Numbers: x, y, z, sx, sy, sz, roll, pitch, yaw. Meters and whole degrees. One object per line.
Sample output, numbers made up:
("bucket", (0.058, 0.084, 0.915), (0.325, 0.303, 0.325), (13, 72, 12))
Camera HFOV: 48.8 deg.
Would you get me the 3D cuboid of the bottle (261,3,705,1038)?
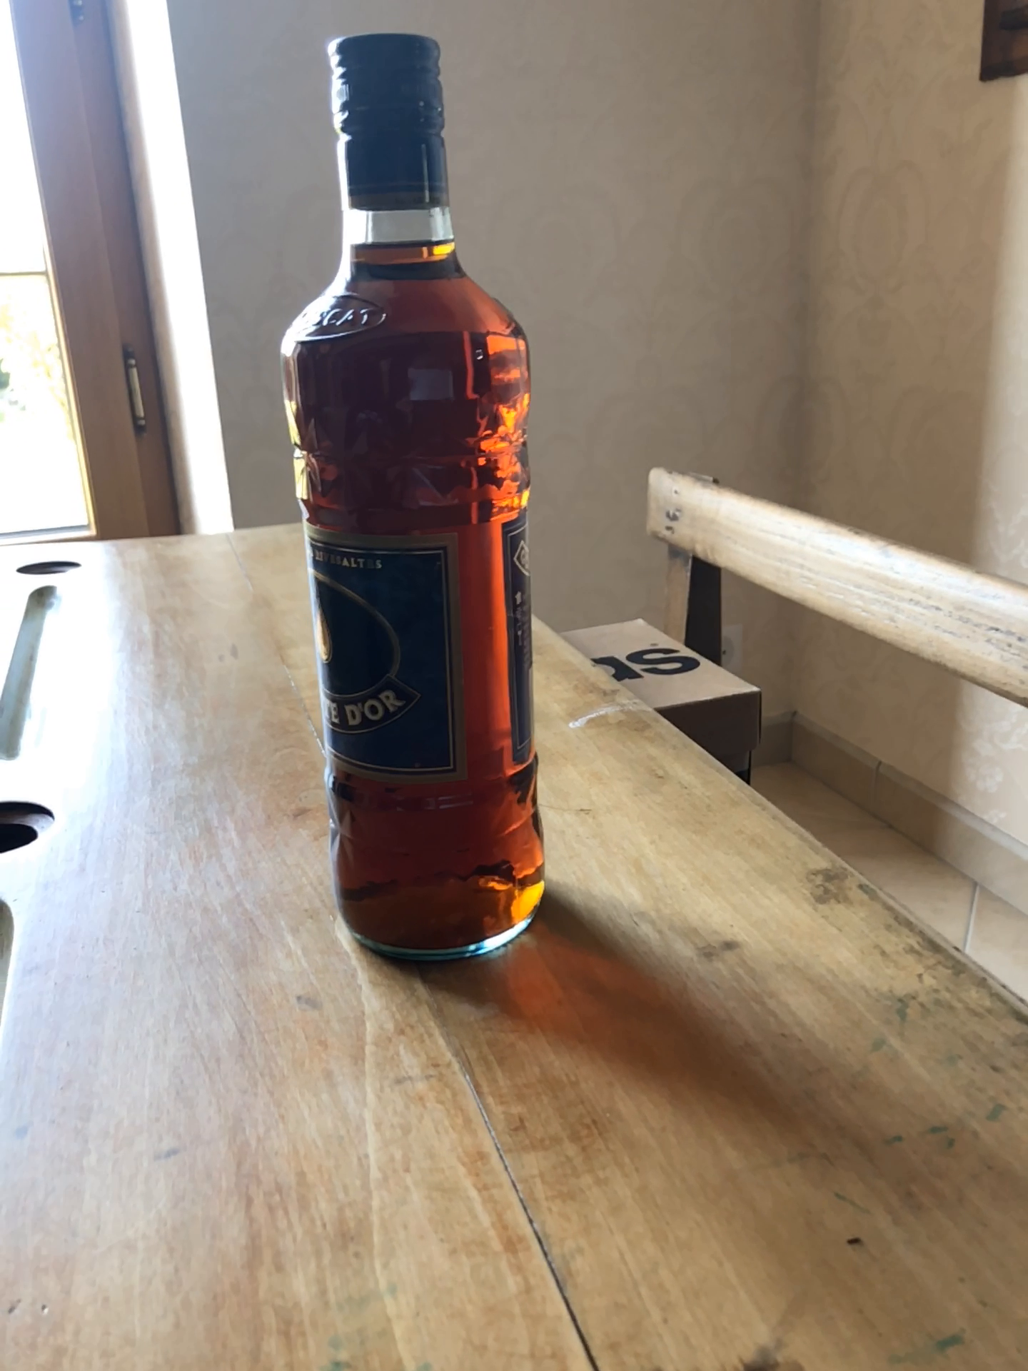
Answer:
("bottle", (-0.008, -0.044, 0.357), (0.100, 0.279, 0.090), (-9, 20, -17))
